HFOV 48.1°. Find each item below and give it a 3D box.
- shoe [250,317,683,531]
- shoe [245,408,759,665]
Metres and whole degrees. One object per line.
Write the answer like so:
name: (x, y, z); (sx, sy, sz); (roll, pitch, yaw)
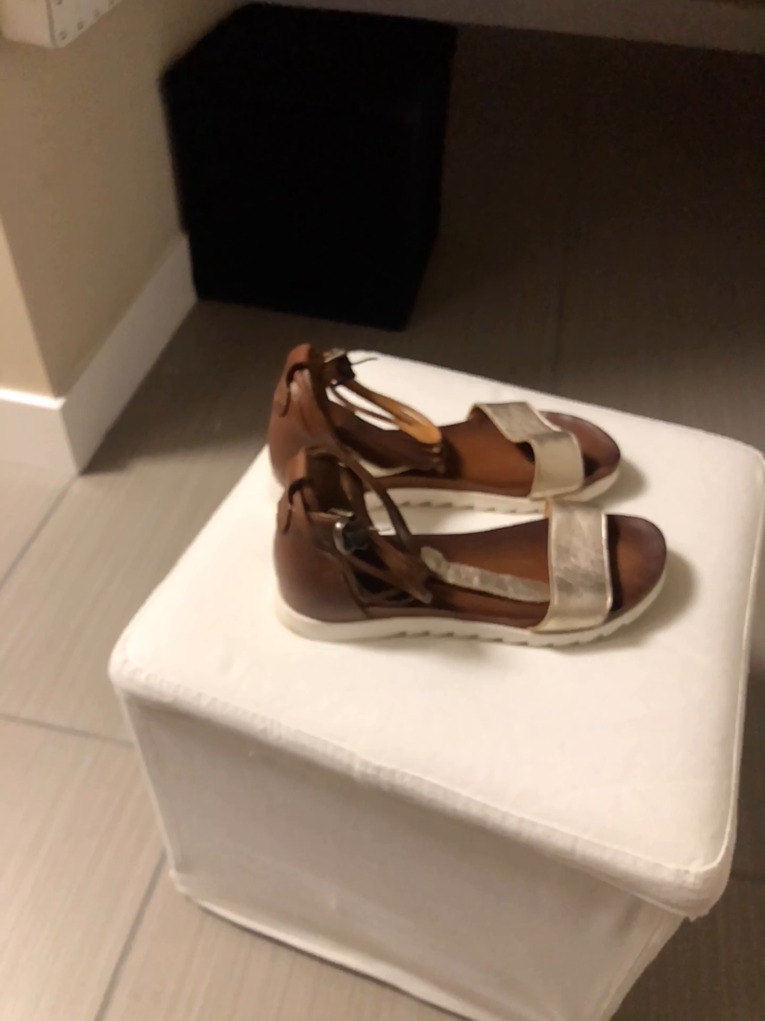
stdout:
shoe: (0.046, -0.061, 0.578); (0.260, 0.090, 0.110); (-1, 45, -5)
shoe: (0.057, 0.012, 0.497); (0.260, 0.090, 0.110); (-1, 45, -5)
